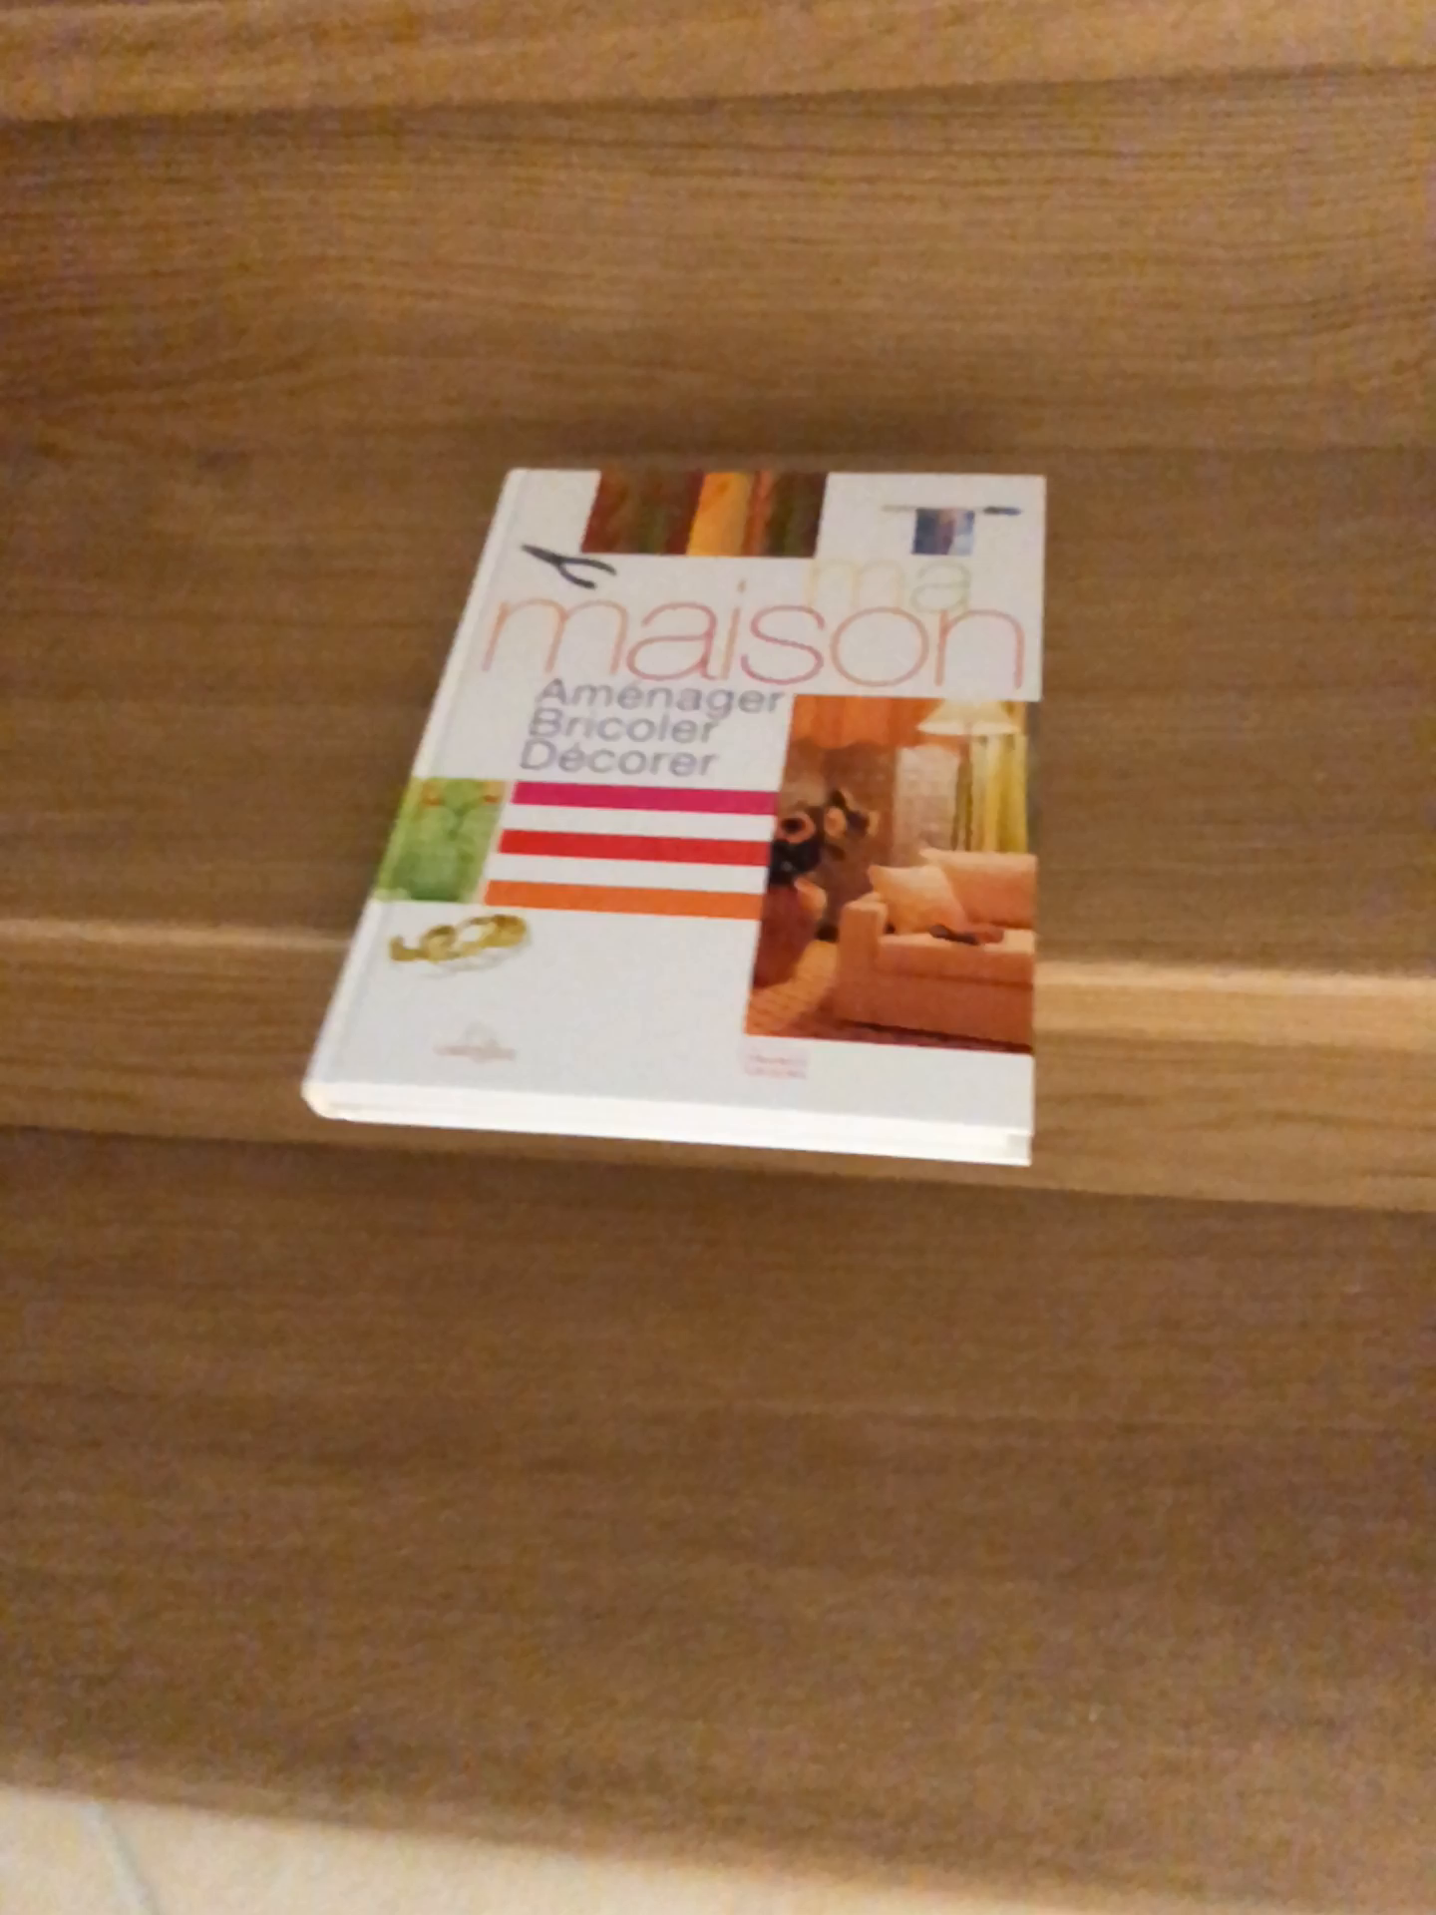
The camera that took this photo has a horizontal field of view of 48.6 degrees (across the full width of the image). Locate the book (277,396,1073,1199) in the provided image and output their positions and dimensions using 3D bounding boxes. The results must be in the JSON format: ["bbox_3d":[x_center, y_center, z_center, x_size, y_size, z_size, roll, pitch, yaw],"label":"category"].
[{"bbox_3d":[0.006,-0.075,0.515,0.210,0.030,0.312,3,54,9],"label":"book"}]
